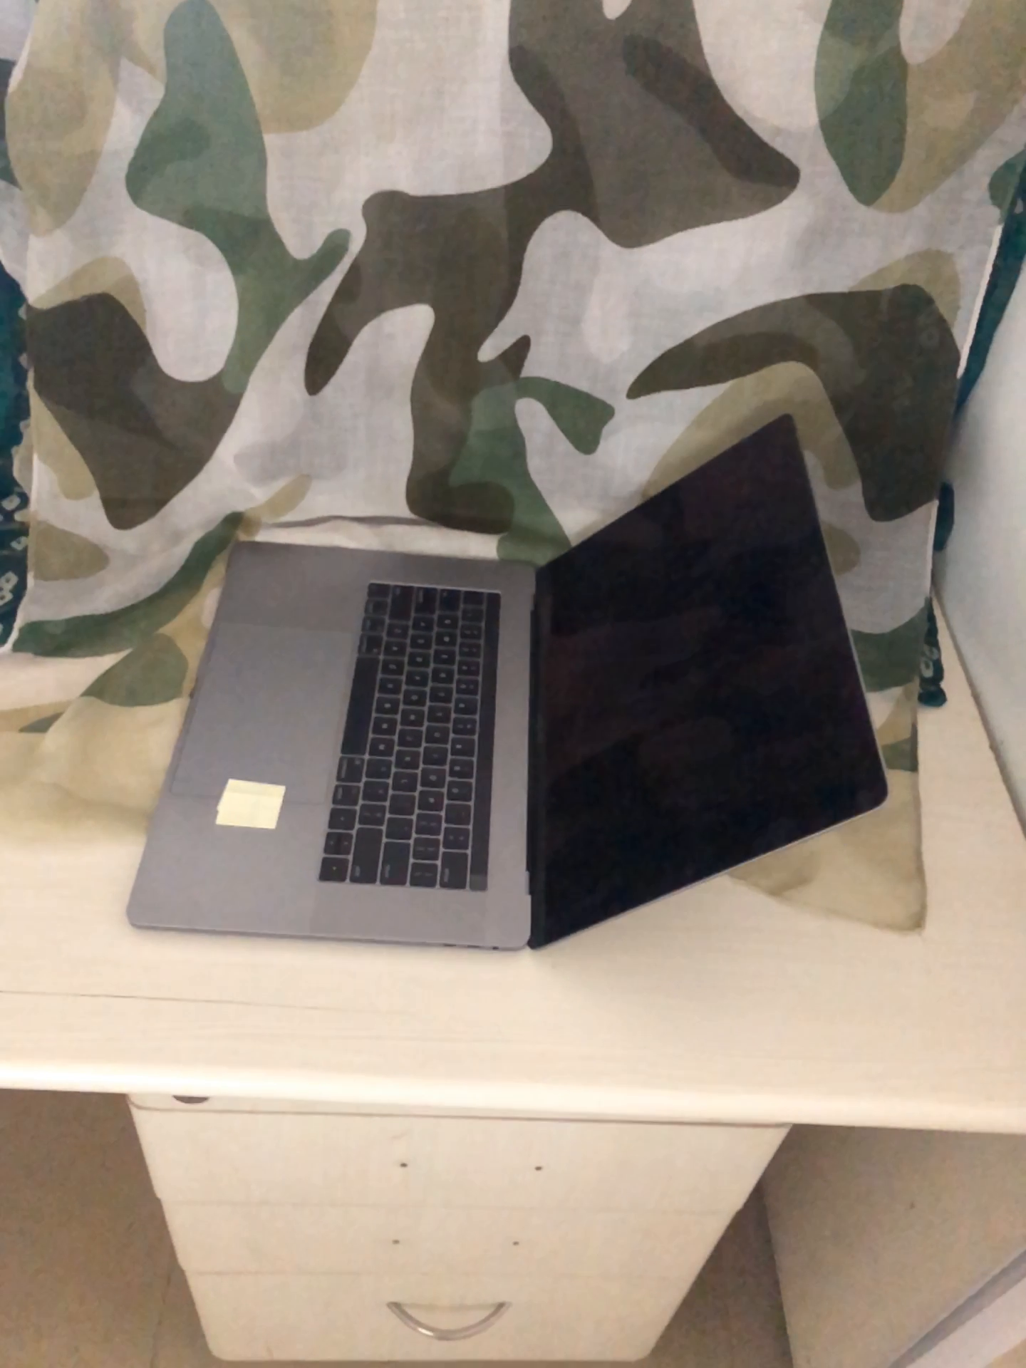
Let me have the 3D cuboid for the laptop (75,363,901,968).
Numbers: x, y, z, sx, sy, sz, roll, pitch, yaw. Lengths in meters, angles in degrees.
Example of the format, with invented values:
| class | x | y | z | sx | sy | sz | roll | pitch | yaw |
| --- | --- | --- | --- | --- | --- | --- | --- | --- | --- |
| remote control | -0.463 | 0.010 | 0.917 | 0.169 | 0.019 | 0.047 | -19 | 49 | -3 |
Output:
| class | x | y | z | sx | sy | sz | roll | pitch | yaw |
| --- | --- | --- | --- | --- | --- | --- | --- | --- | --- |
| laptop | -0.015 | -0.027 | 0.727 | 0.402 | 0.165 | 0.343 | 4 | 45 | -2 |
